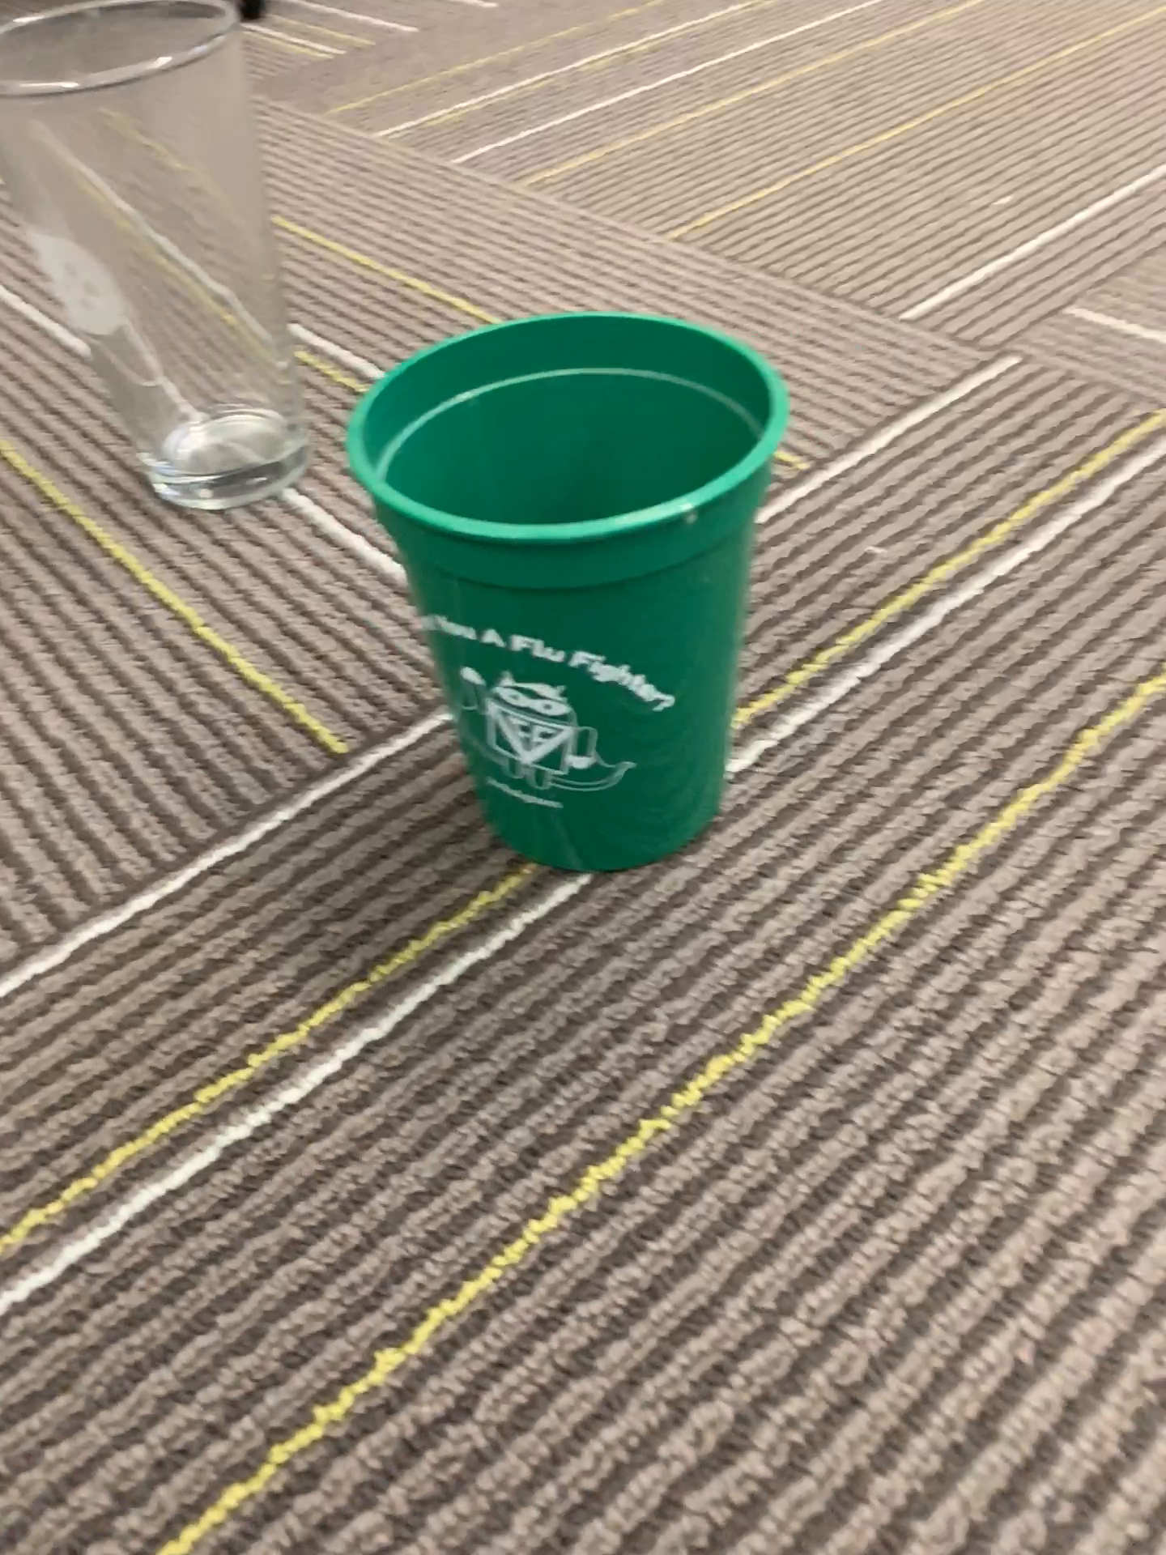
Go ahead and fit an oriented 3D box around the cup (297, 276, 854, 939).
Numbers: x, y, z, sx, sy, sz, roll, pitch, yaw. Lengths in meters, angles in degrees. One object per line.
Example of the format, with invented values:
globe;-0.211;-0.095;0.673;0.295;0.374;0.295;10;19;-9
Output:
cup;0.005;-0.041;0.293;0.090;0.119;0.080;18;50;23
